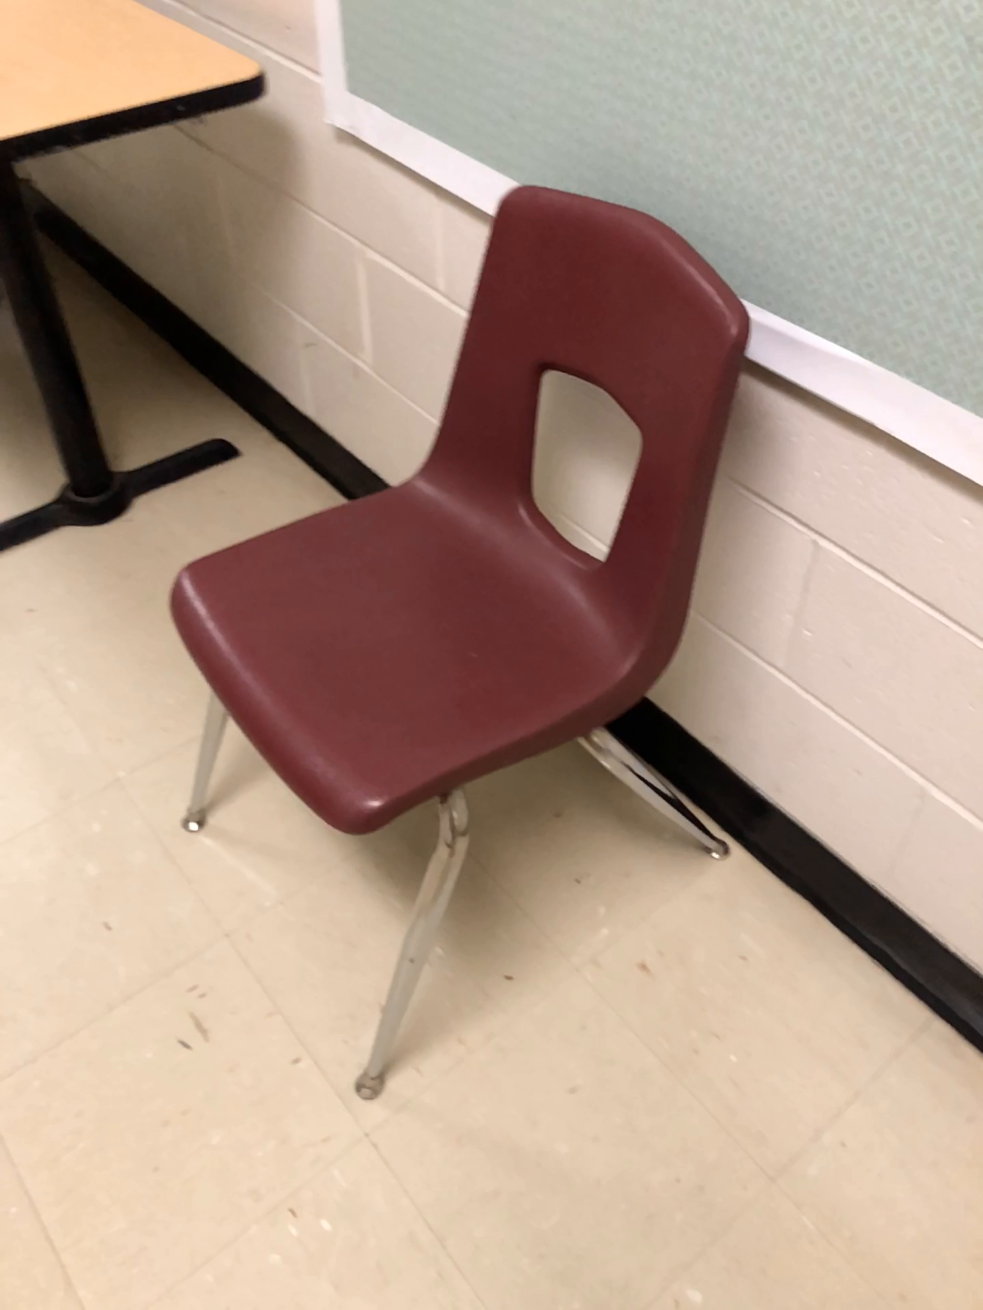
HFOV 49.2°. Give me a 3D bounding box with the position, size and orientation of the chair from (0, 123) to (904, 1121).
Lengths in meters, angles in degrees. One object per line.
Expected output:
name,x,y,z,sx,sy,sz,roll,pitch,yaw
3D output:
chair,-0.058,-0.036,1.099,0.554,0.707,0.506,-28,52,-25
